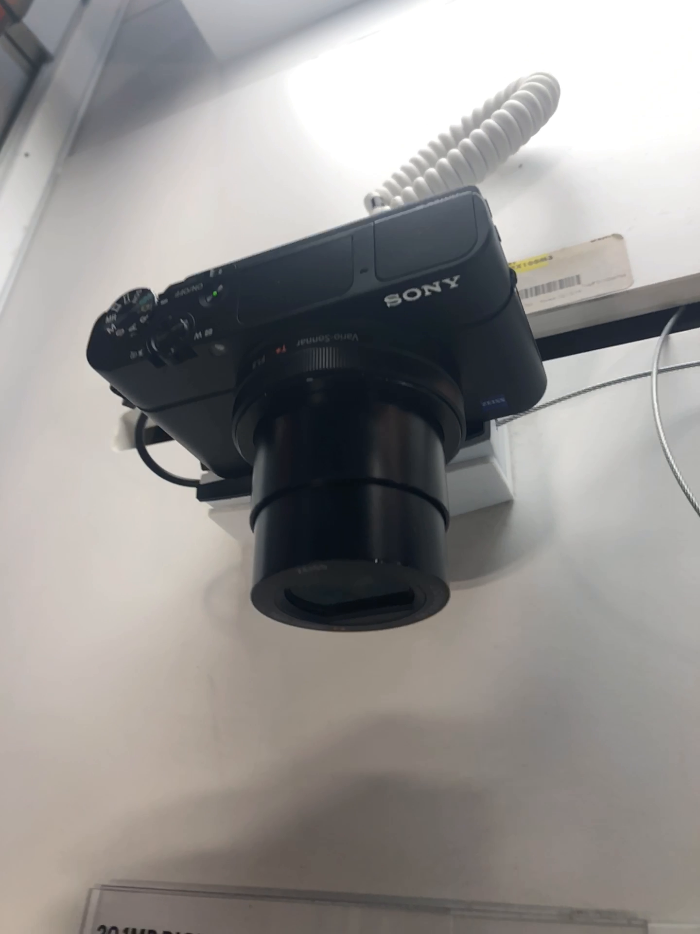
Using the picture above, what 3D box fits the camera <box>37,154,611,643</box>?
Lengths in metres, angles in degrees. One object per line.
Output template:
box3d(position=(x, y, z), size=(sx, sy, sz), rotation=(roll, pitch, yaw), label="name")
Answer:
box3d(position=(0.000, -0.007, 0.190), size=(0.105, 0.074, 0.070), rotation=(-10, 55, 23), label="camera")
